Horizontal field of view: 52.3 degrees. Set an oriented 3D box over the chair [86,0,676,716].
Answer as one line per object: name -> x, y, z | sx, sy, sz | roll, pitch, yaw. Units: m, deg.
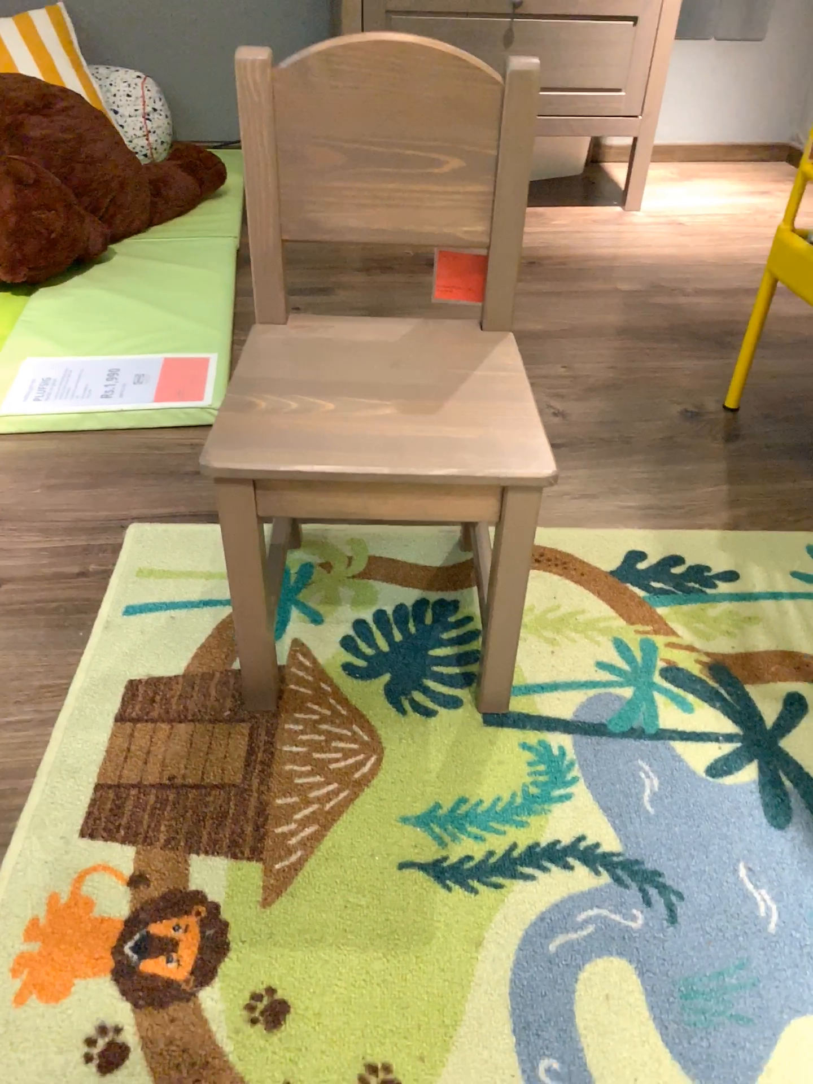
chair -> -0.021, -0.148, 0.686 | 0.290, 0.488, 0.331 | 1, 37, -2
